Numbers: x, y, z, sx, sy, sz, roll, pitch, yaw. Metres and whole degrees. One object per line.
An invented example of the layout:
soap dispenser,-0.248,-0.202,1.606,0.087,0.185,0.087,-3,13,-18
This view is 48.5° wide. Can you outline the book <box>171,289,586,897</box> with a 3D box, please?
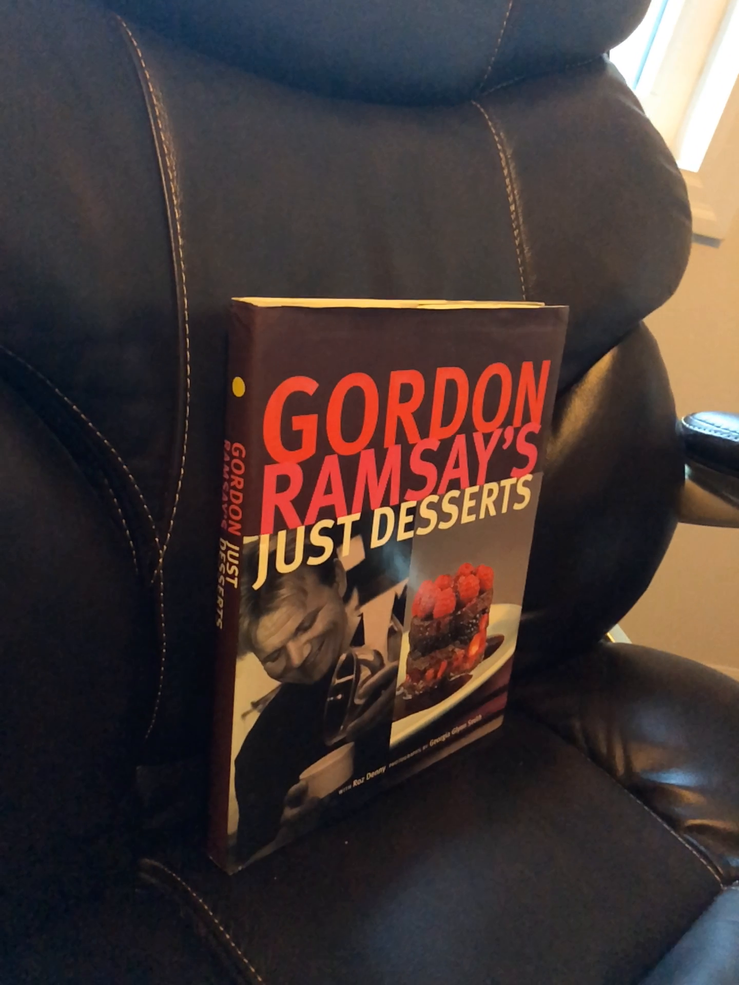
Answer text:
book,0.009,0.042,0.445,0.231,0.293,0.030,-12,29,-43
